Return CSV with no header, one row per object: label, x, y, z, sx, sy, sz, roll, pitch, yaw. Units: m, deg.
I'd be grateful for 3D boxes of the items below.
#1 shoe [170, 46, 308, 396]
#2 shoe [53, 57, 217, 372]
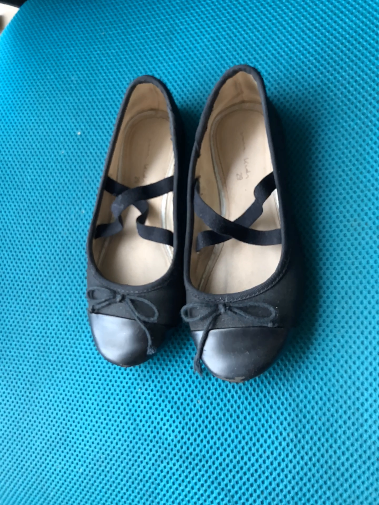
shoe,0.034,-0.018,0.259,0.069,0.050,0.190,-1,79,21
shoe,-0.032,-0.025,0.290,0.080,0.050,0.194,0,80,21
